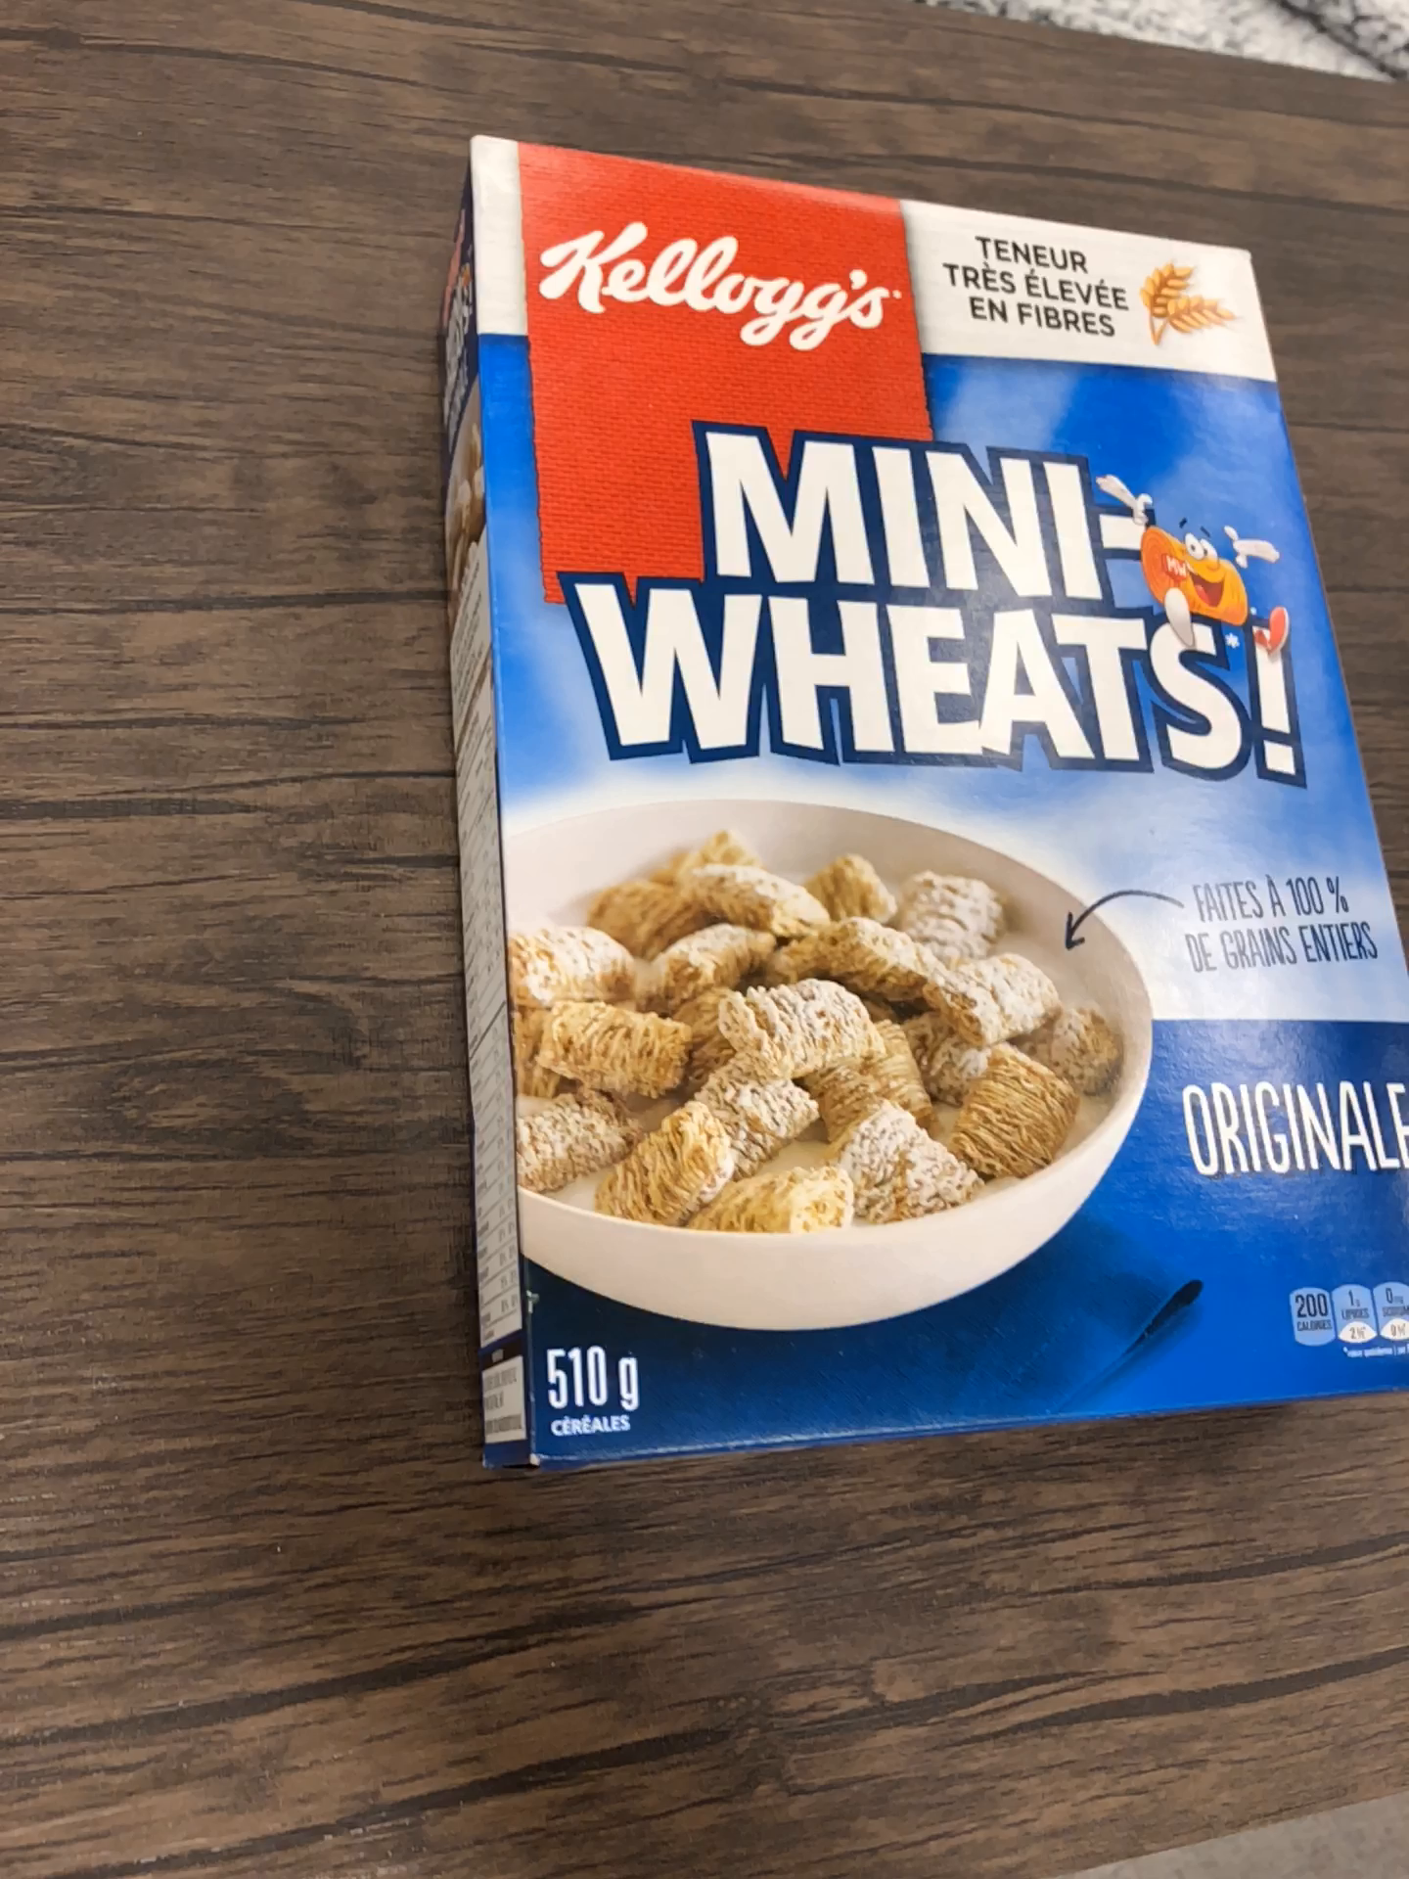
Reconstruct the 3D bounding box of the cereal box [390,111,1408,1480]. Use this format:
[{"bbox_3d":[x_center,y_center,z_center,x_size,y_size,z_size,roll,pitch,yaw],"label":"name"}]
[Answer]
[{"bbox_3d":[0.053,-0.034,0.344,0.230,0.060,0.270,1,70,-16],"label":"cereal box"}]
